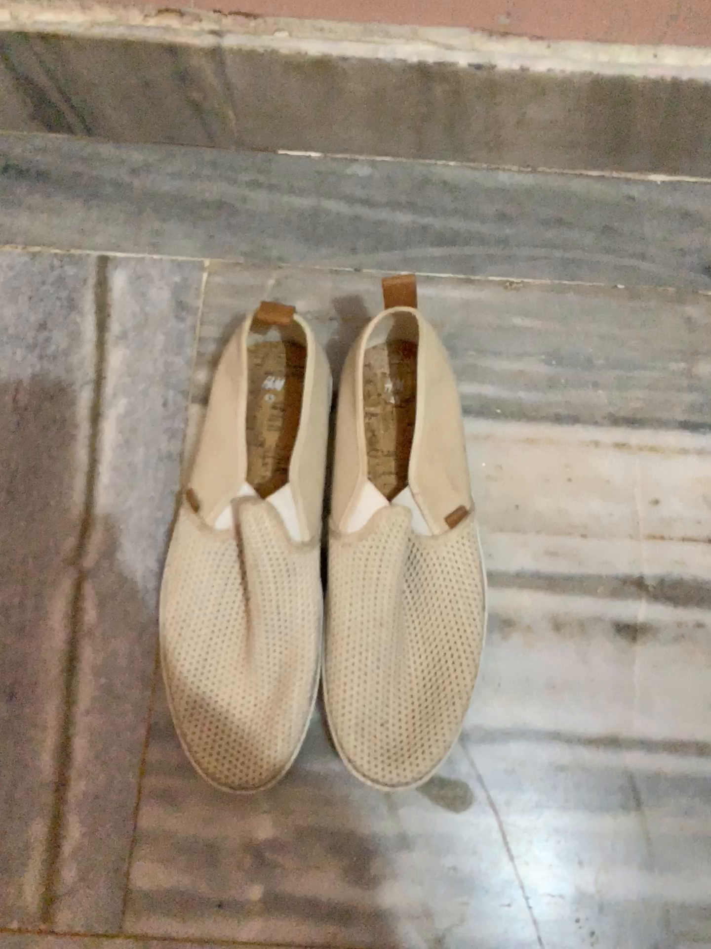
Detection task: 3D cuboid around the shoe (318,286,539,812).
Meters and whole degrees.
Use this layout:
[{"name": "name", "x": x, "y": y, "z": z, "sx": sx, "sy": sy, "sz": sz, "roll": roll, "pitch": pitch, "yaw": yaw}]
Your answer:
[{"name": "shoe", "x": 0.036, "y": 0.039, "z": 0.462, "sx": 0.116, "sy": 0.080, "sz": 0.310, "roll": -1, "pitch": 76, "yaw": -2}]

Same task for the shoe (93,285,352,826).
[{"name": "shoe", "x": -0.072, "y": 0.043, "z": 0.459, "sx": 0.116, "sy": 0.080, "sz": 0.309, "roll": 4, "pitch": 76, "yaw": -1}]
